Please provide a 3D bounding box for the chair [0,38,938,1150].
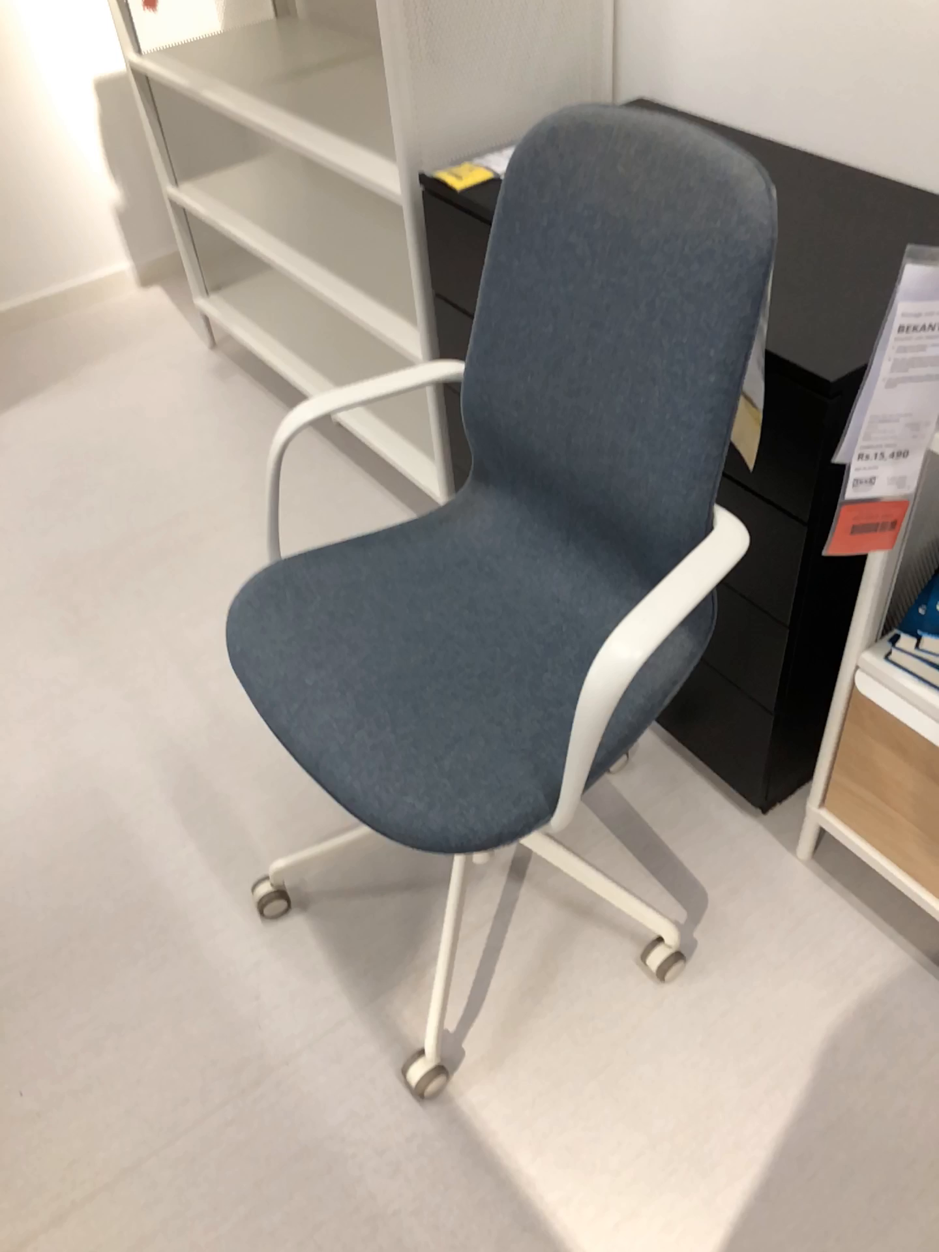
[{"bbox_3d":[-0.047,-0.001,1.219,0.700,0.994,0.704,-10,44,-4],"label":"chair"}]
